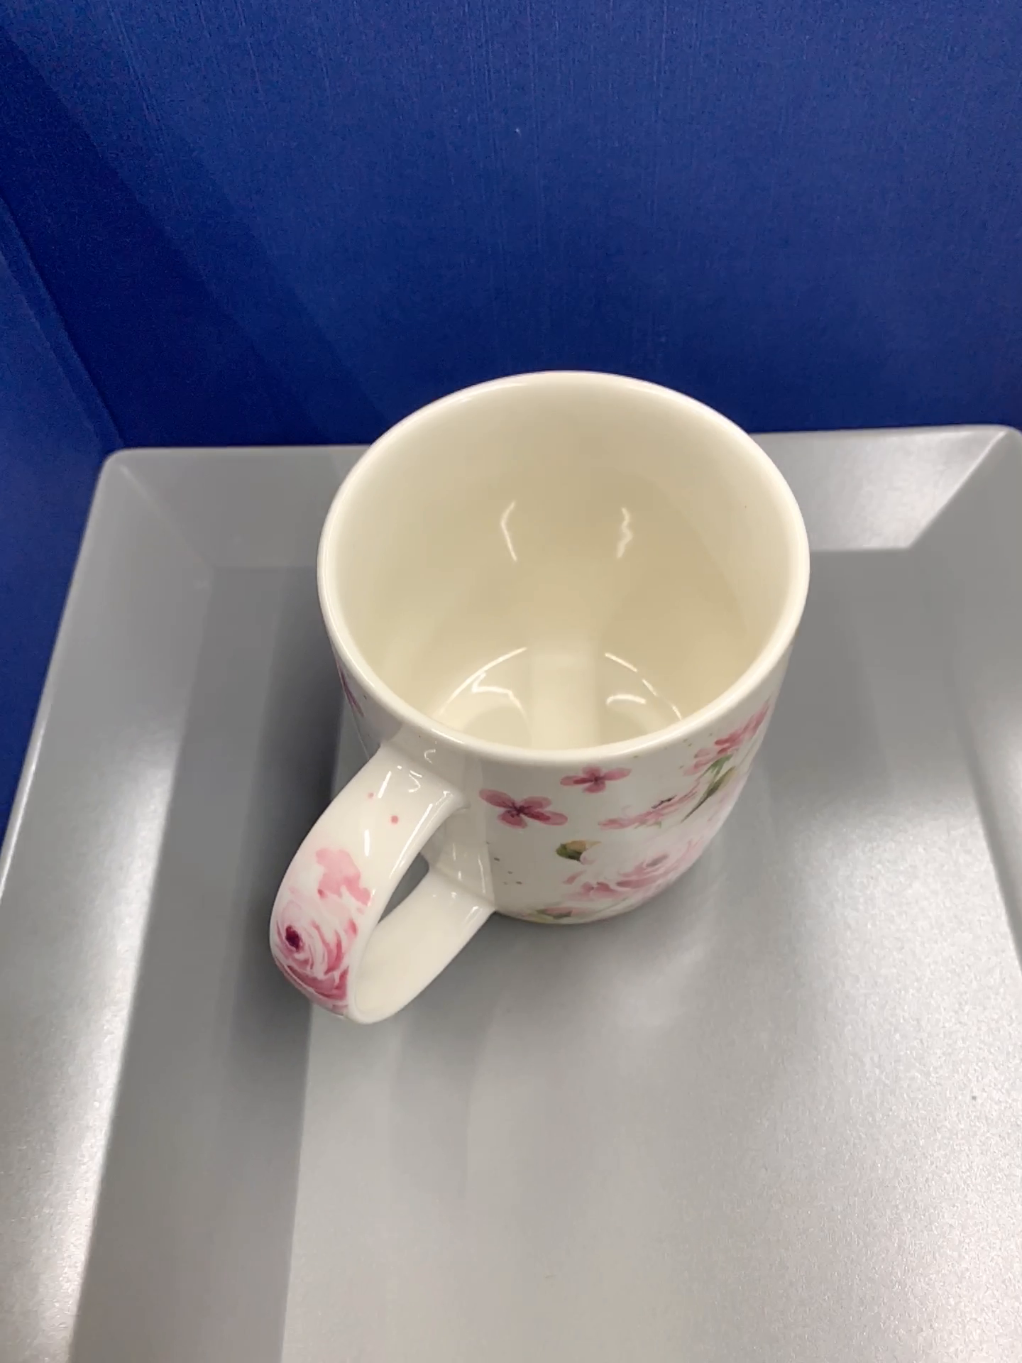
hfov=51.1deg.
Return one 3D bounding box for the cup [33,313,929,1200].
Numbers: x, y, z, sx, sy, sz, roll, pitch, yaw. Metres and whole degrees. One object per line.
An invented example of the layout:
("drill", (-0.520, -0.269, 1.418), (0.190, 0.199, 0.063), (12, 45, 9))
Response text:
("cup", (0.000, 0.012, 0.198), (0.085, 0.087, 0.110), (35, 64, 25))
